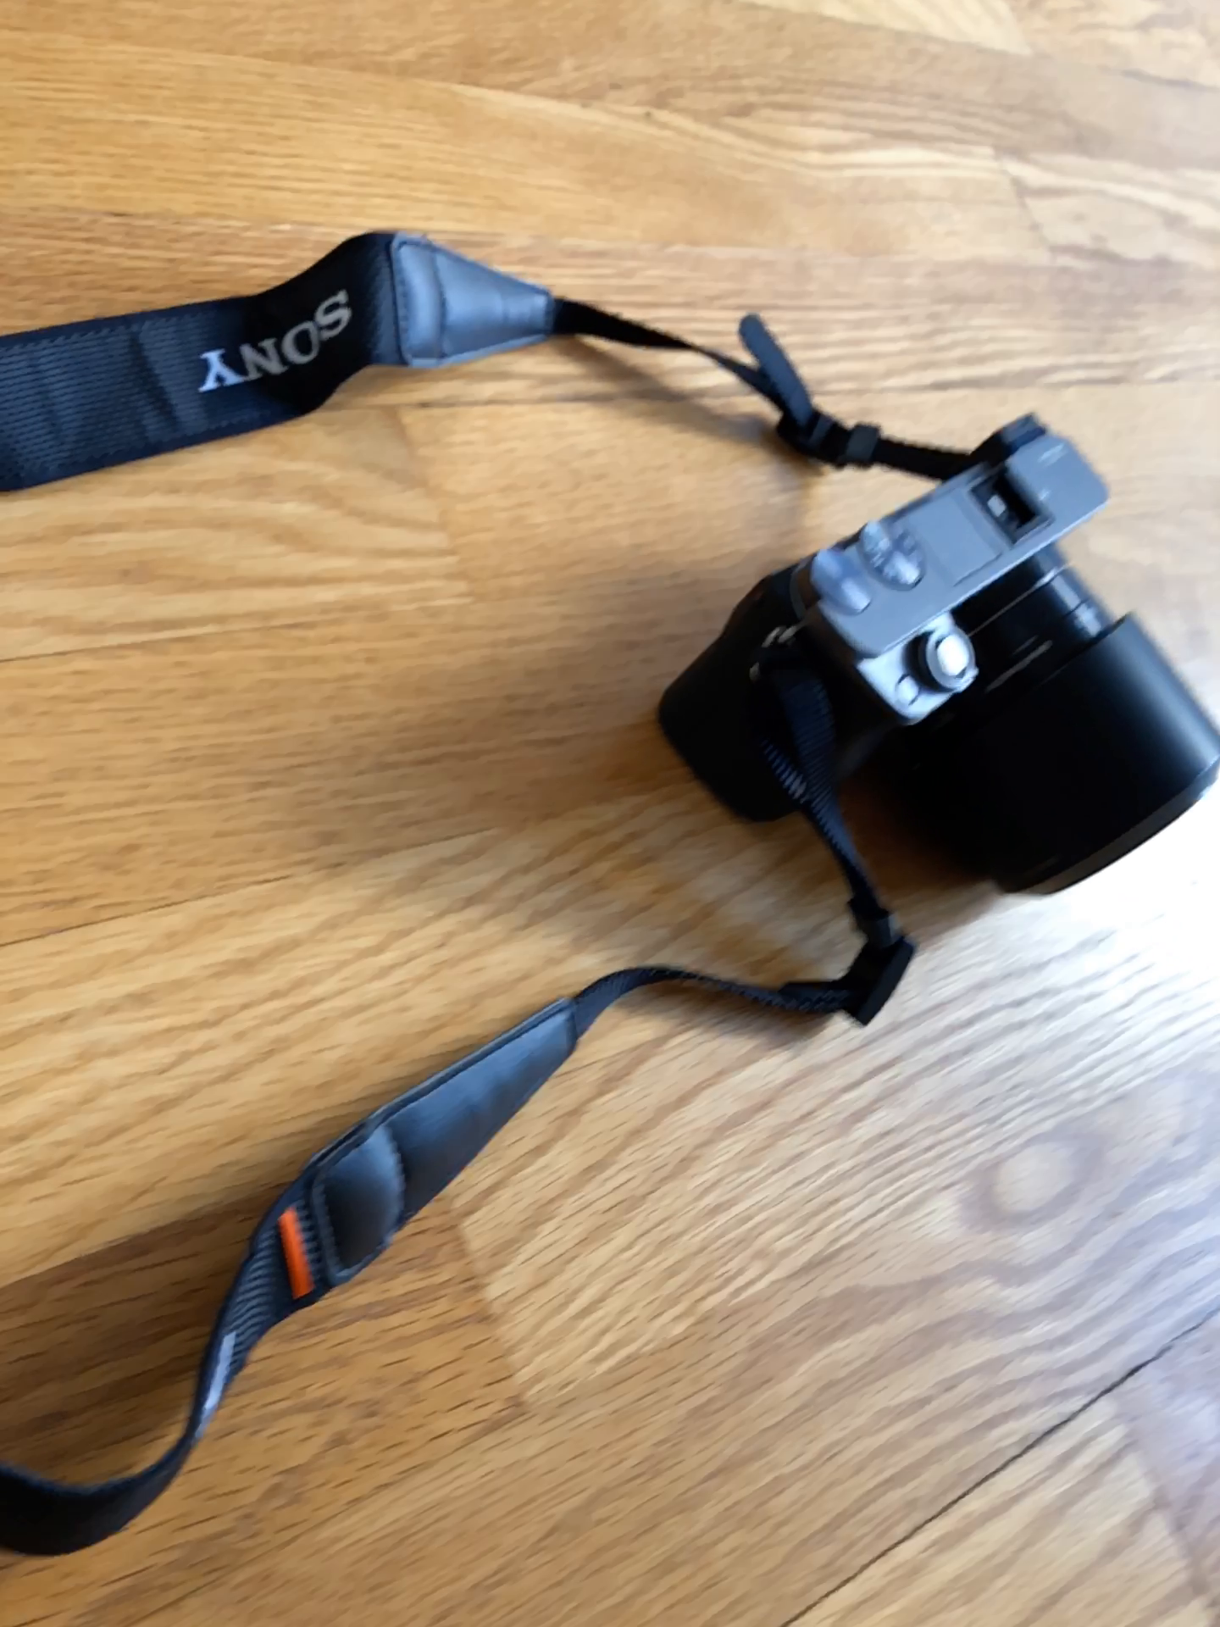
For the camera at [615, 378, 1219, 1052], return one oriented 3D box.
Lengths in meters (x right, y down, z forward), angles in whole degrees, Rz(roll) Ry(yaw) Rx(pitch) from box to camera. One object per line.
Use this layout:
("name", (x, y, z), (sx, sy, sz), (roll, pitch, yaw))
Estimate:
("camera", (0.094, -0.030, 0.345), (0.141, 0.060, 0.110), (-34, 86, -37))
